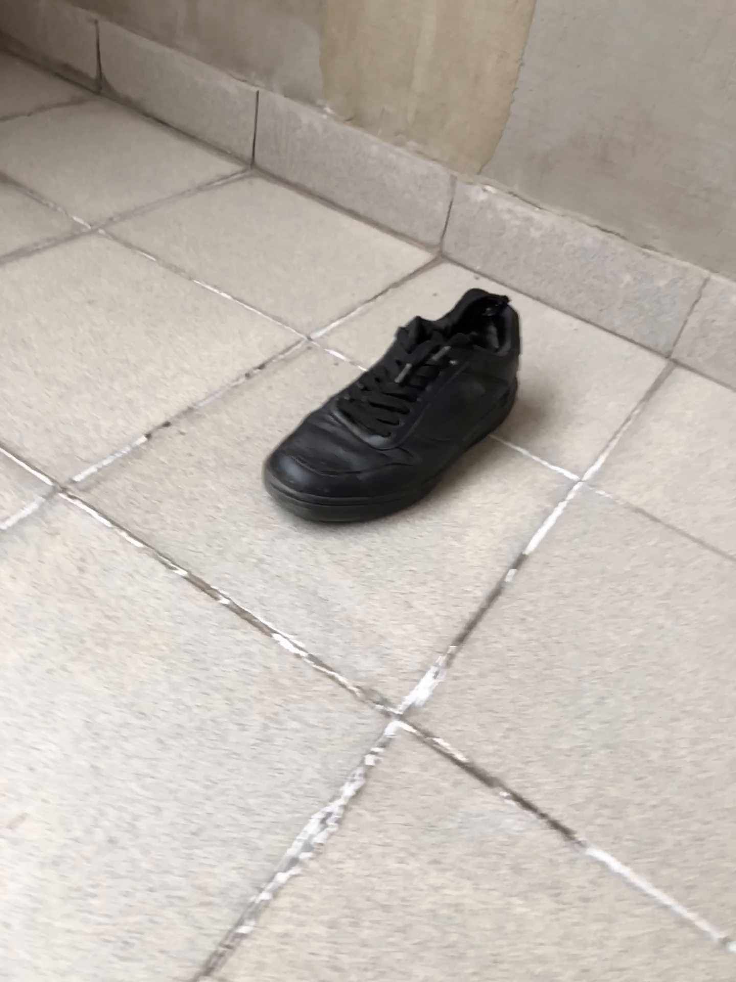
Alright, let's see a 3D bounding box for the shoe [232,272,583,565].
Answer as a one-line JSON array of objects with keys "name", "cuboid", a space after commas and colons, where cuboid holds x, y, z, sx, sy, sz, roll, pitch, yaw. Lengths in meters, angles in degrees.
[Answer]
[{"name": "shoe", "cuboid": [0.039, -0.074, 0.666, 0.110, 0.099, 0.291, 38, 48, 24]}]
